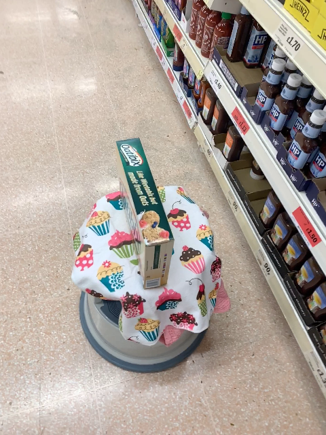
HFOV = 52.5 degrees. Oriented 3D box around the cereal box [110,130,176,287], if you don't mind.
[{"bbox_3d":[-0.050,-0.022,0.696,0.060,0.169,0.282,-11,56,-11],"label":"cereal box"}]
